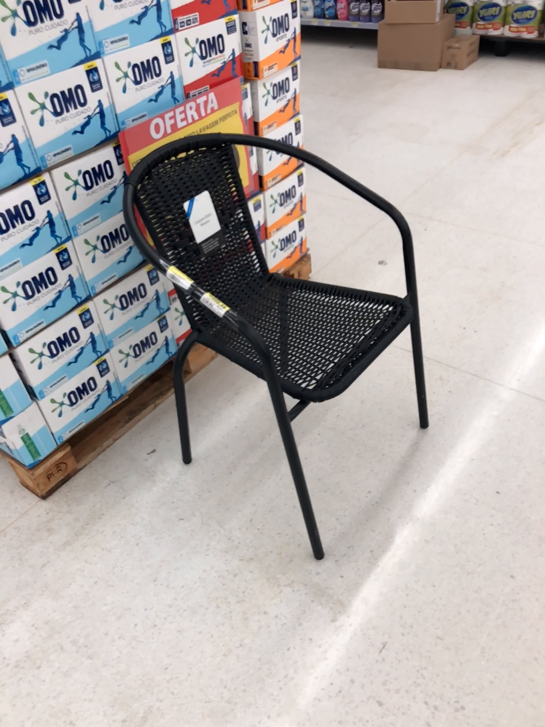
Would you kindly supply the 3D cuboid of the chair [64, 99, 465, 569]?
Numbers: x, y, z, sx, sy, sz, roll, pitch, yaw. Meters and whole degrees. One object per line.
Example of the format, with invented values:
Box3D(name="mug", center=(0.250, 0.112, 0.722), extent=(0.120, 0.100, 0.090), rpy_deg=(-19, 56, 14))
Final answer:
Box3D(name="chair", center=(0.024, -0.081, 1.278), extent=(0.501, 0.725, 0.502), rpy_deg=(23, 48, 31))
